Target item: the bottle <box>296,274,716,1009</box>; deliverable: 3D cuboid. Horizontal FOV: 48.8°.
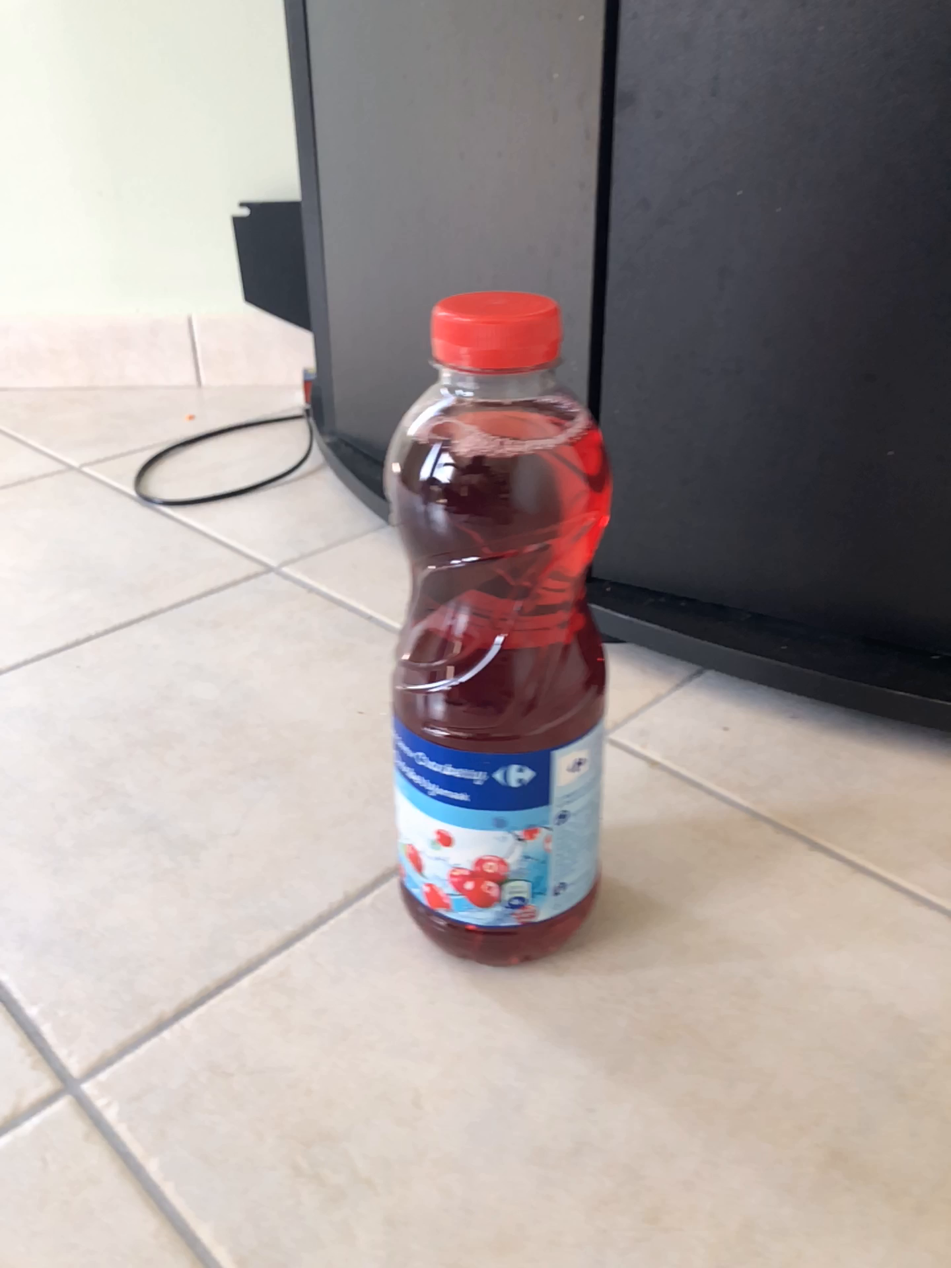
[{"bbox_3d":[0.012,0.002,0.392,0.101,0.239,0.090,-26,37,-38],"label":"bottle"}]
